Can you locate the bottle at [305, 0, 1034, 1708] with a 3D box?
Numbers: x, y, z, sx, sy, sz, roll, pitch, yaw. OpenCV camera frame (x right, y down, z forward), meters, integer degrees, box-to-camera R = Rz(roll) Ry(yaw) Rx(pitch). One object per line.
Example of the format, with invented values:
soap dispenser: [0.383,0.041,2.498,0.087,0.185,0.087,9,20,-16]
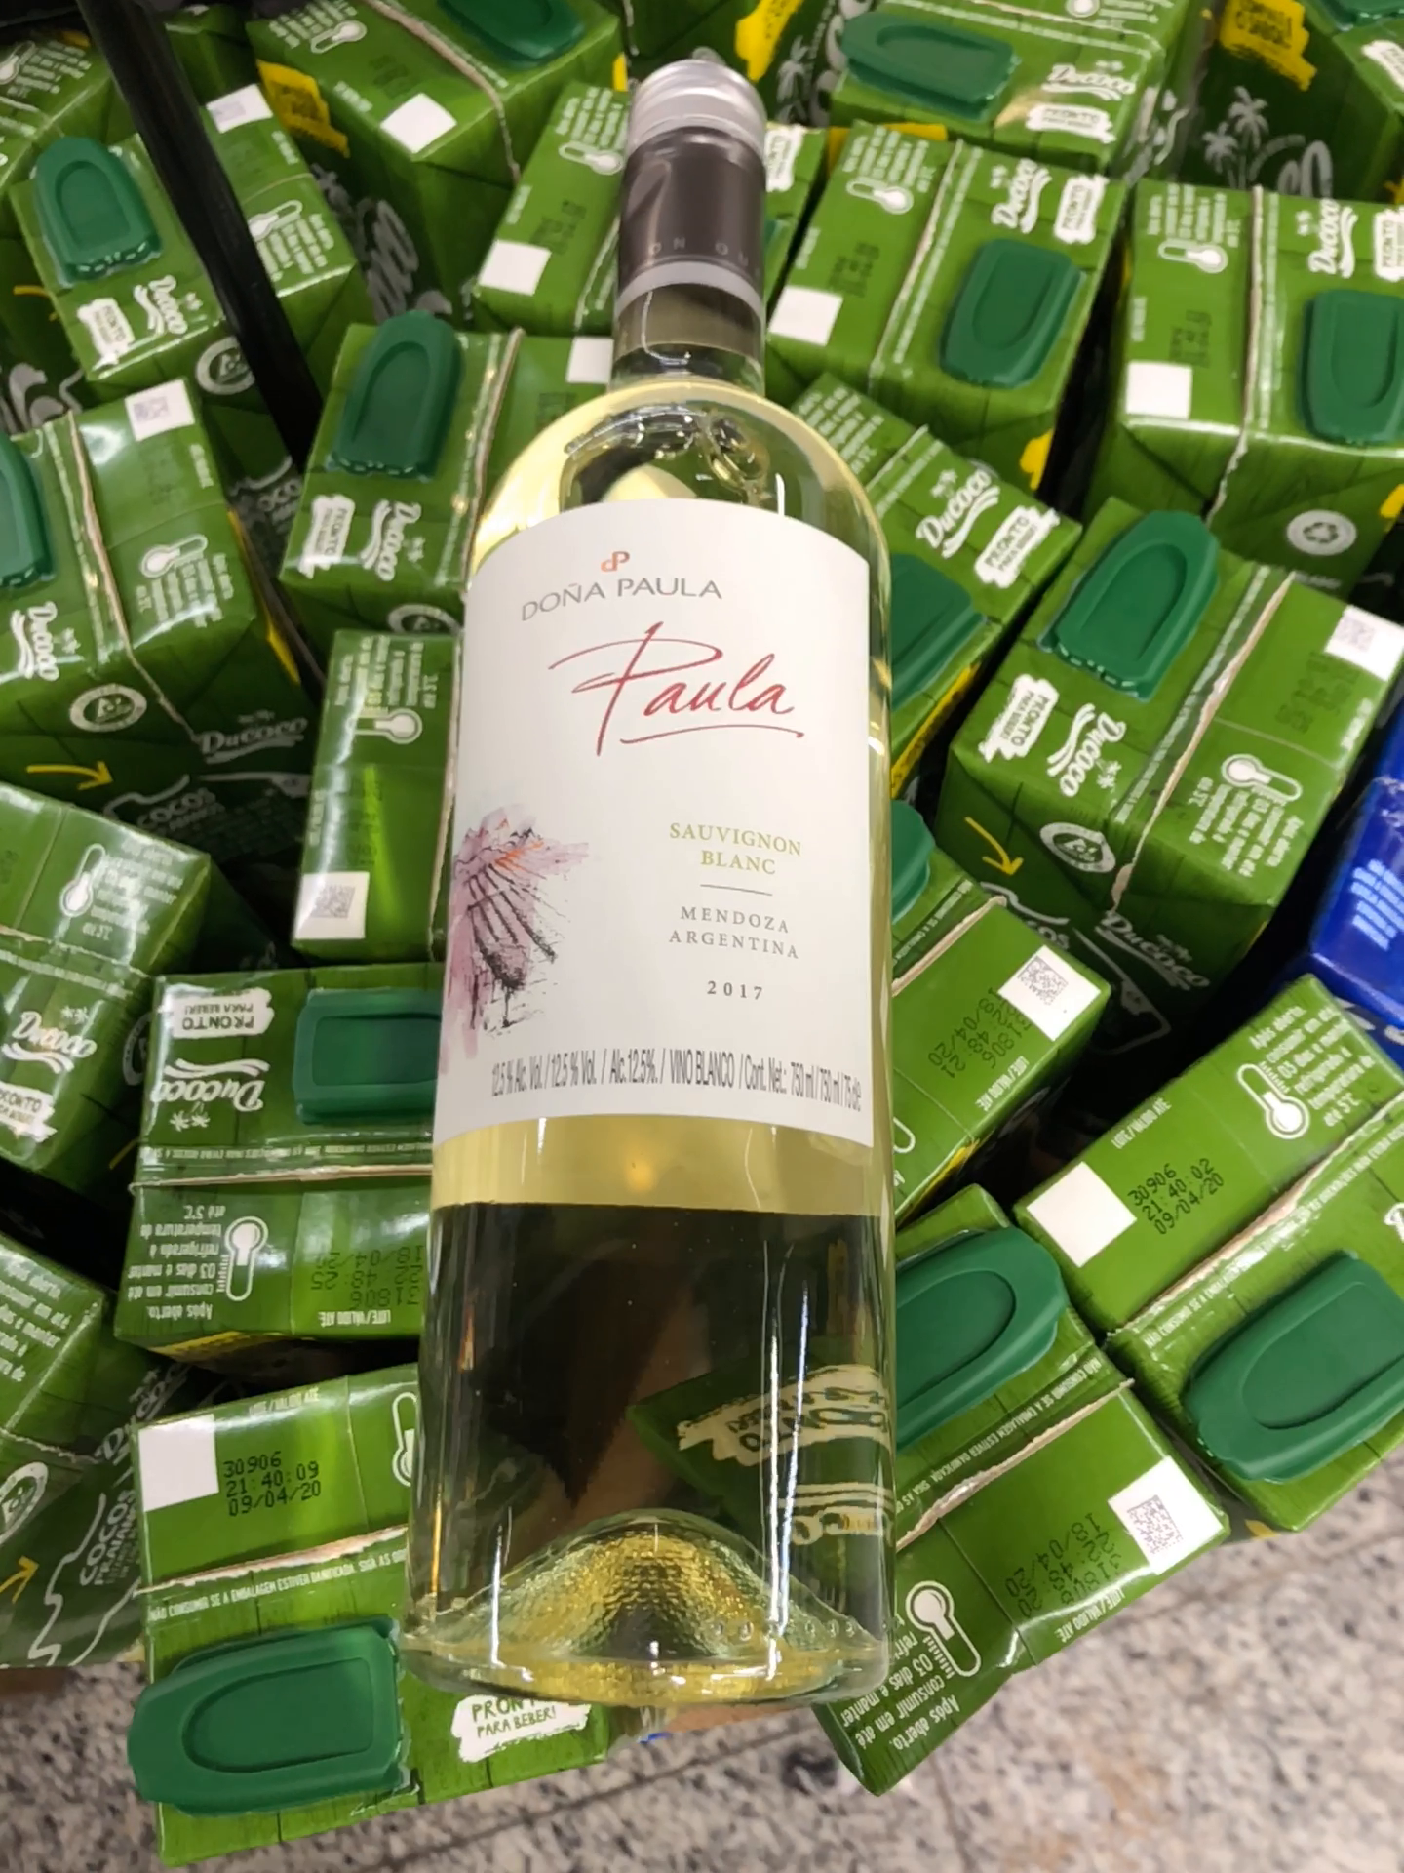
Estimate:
bottle: [0.001,-0.054,0.270,0.080,0.070,0.331,0,66,4]
